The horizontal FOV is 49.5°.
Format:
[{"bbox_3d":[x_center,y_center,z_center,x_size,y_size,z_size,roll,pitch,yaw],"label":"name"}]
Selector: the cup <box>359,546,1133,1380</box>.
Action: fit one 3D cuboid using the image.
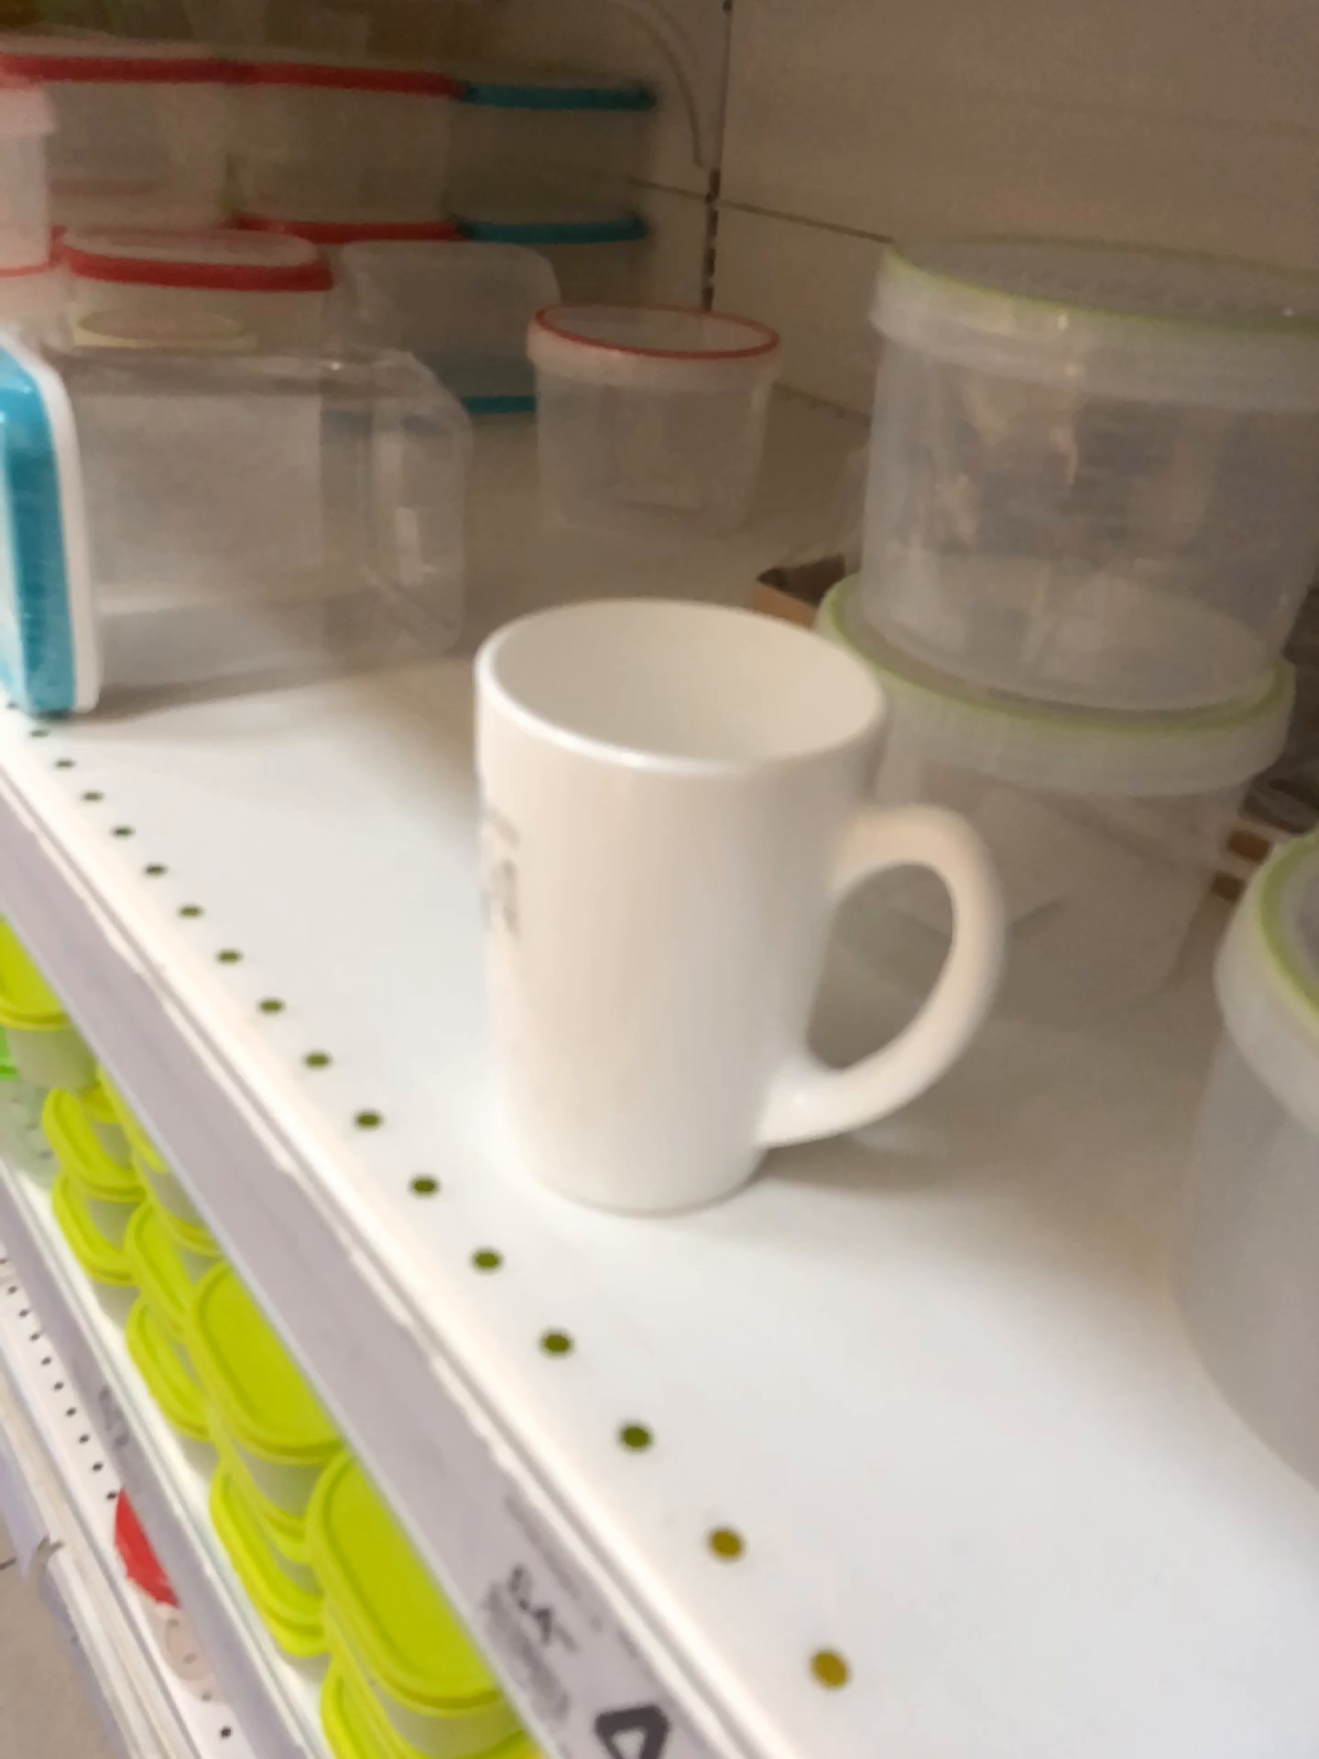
[{"bbox_3d":[0.011,0.008,0.292,0.120,0.107,0.079,27,38,32],"label":"cup"}]
